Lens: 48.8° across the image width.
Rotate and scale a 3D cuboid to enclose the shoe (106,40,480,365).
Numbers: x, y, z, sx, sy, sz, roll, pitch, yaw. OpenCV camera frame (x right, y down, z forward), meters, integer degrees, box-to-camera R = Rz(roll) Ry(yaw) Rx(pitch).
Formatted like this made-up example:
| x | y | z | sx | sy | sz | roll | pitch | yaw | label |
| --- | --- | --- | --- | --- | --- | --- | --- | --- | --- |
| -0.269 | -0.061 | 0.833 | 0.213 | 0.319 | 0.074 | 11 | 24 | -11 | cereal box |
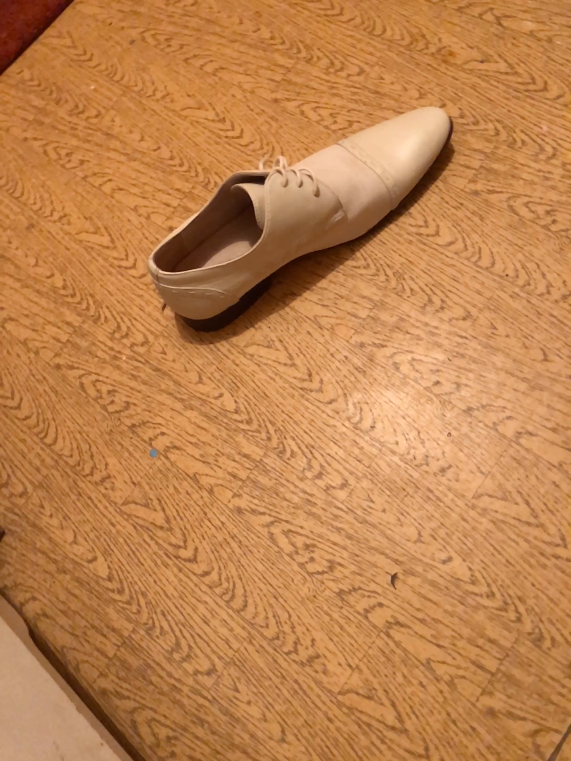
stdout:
| x | y | z | sx | sy | sz | roll | pitch | yaw | label |
| --- | --- | --- | --- | --- | --- | --- | --- | --- | --- |
| 0.011 | -0.154 | 0.568 | 0.310 | 0.100 | 0.100 | -33 | 67 | 0 | shoe |
